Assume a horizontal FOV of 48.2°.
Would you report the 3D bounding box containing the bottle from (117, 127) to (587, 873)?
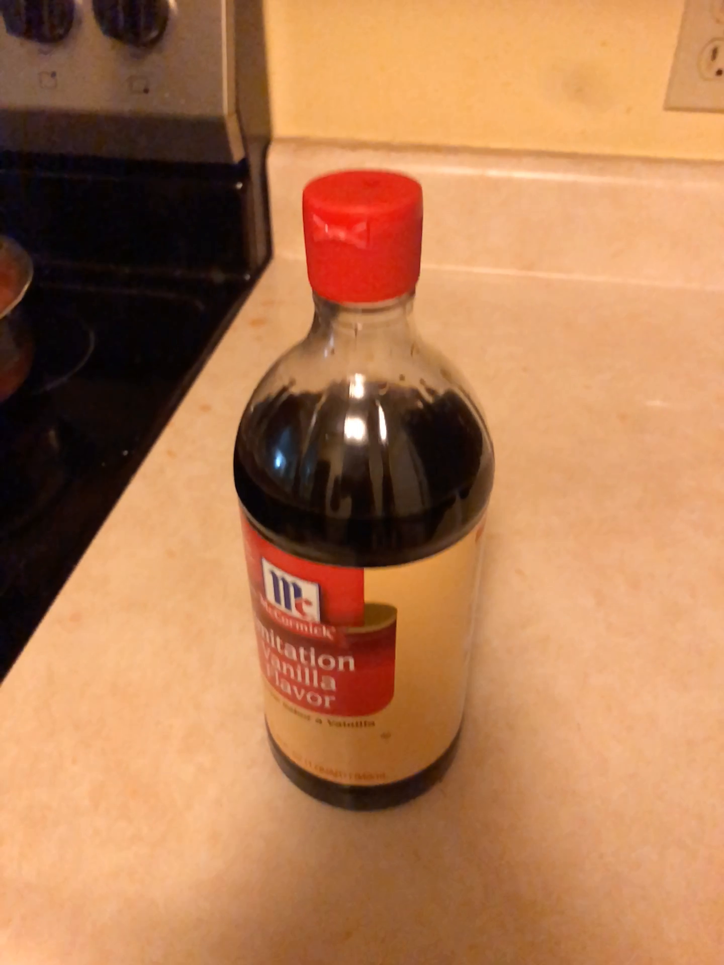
[{"bbox_3d":[0.000,0.020,0.280,0.090,0.239,0.080,22,44,25],"label":"bottle"}]
